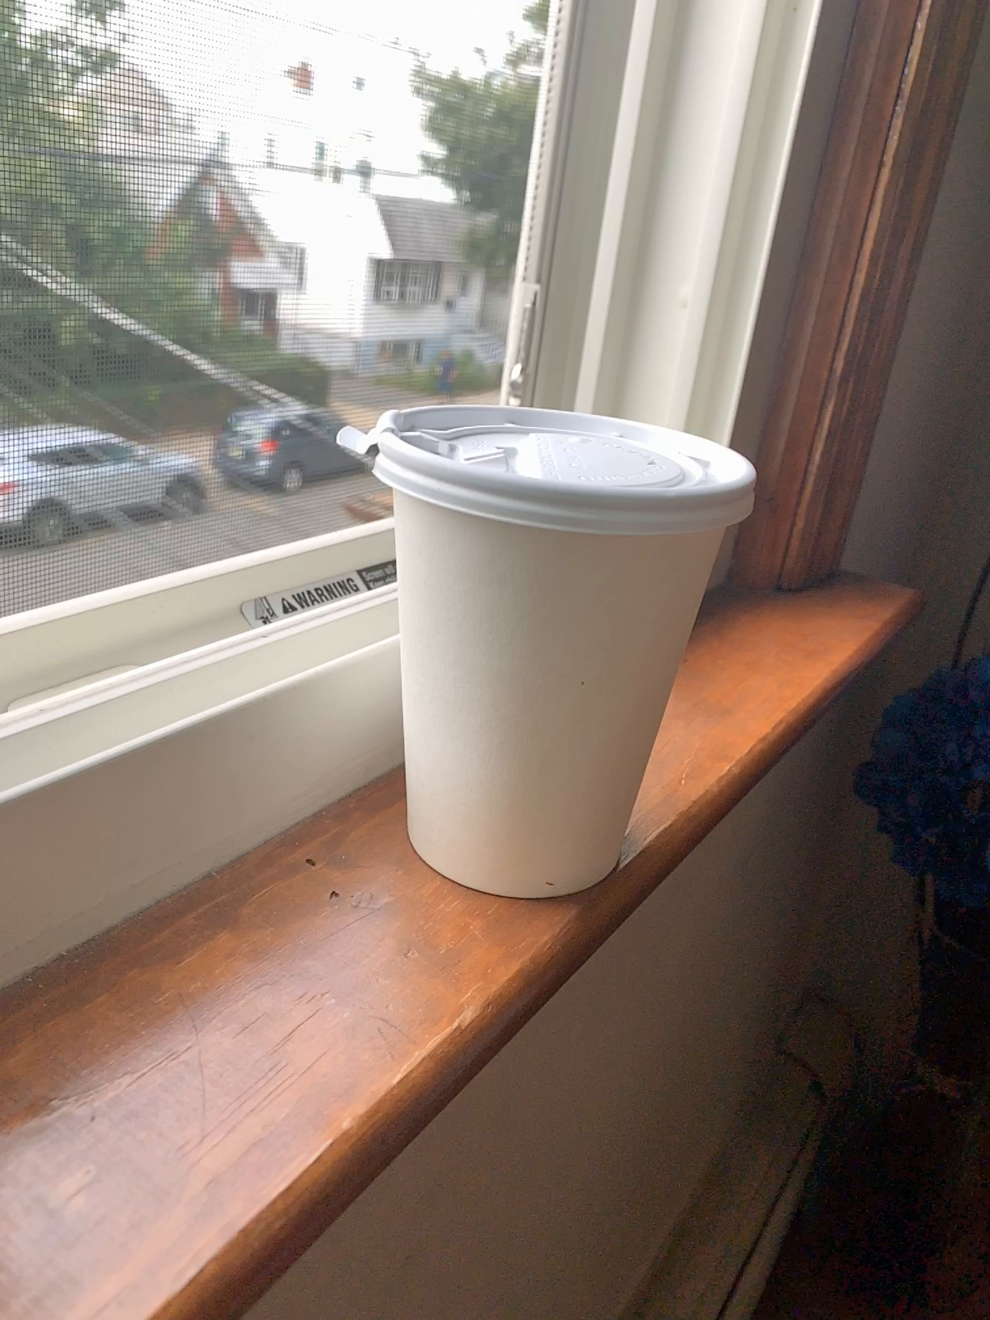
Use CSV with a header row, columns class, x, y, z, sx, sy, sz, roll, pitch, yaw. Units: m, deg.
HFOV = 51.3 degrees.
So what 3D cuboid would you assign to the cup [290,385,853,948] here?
class,x,y,z,sx,sy,sz,roll,pitch,yaw
cup,0.012,-0.009,0.256,0.090,0.099,0.090,6,23,-3
